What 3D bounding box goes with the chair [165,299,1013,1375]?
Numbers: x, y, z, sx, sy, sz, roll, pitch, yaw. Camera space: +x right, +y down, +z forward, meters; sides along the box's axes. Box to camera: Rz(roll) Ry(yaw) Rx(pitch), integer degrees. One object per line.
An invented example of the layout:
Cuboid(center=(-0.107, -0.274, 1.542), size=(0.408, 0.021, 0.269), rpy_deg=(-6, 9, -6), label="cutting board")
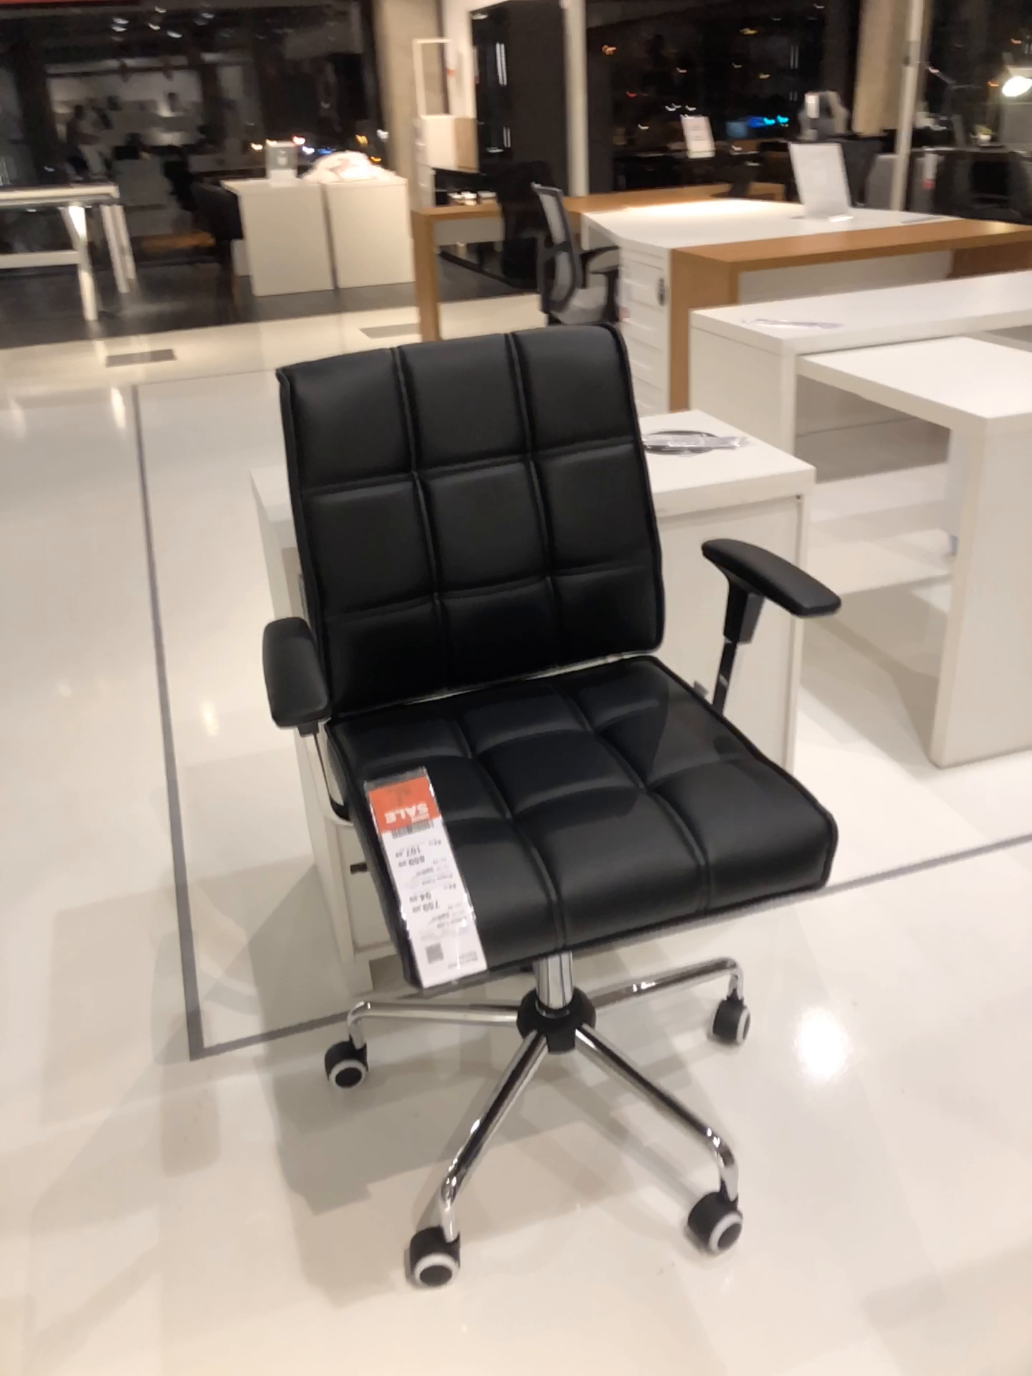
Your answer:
Cuboid(center=(0.017, 0.087, 1.365), size=(0.621, 0.913, 0.745), rpy_deg=(-12, 28, -17), label="chair")
